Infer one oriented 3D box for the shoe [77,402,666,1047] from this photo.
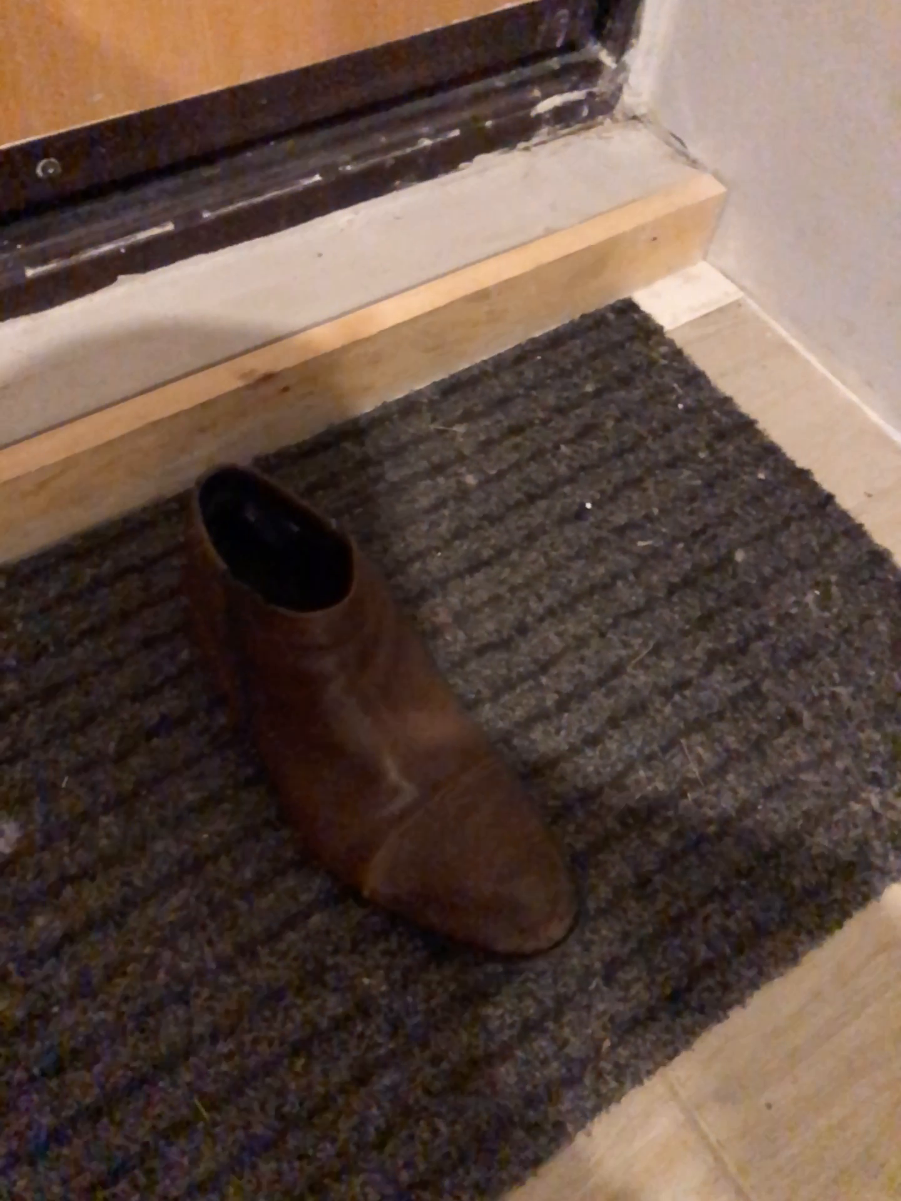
[{"bbox_3d":[-0.051,0.056,0.509,0.110,0.129,0.301,-34,66,-23],"label":"shoe"}]
